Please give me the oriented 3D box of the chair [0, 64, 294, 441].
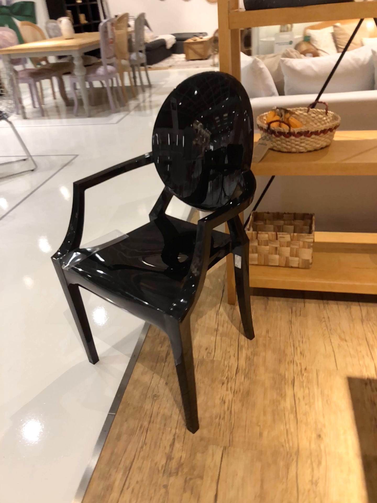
[{"bbox_3d":[-0.064,-0.047,1.304,0.541,0.903,0.593,16,37,32],"label":"chair"}]
